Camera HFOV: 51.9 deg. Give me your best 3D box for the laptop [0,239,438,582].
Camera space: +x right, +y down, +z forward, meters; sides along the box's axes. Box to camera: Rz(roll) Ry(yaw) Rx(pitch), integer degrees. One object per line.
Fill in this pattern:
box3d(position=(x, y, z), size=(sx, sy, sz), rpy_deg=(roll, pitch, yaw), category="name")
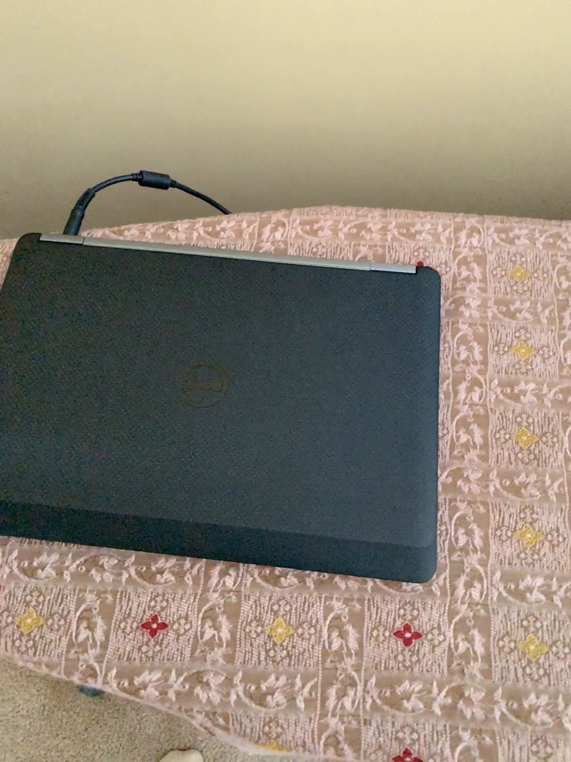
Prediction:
box3d(position=(-0.057, 0.007, 0.379), size=(0.294, 0.017, 0.197), rpy_deg=(5, 71, 7), category="laptop")
